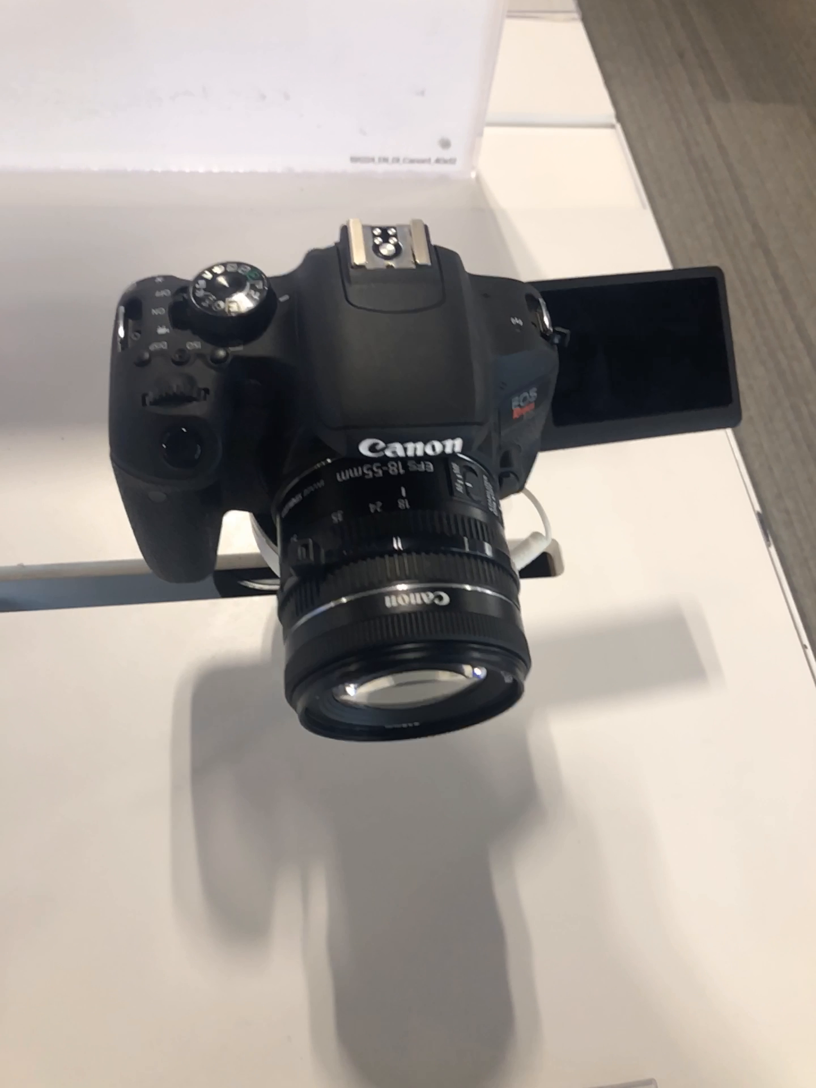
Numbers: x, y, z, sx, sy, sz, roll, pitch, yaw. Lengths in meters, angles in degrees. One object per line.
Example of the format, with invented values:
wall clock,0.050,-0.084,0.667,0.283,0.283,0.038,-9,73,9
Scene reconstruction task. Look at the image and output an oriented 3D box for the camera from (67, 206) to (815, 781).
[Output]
camera,0.026,-0.014,0.255,0.210,0.100,0.110,-5,61,-9
